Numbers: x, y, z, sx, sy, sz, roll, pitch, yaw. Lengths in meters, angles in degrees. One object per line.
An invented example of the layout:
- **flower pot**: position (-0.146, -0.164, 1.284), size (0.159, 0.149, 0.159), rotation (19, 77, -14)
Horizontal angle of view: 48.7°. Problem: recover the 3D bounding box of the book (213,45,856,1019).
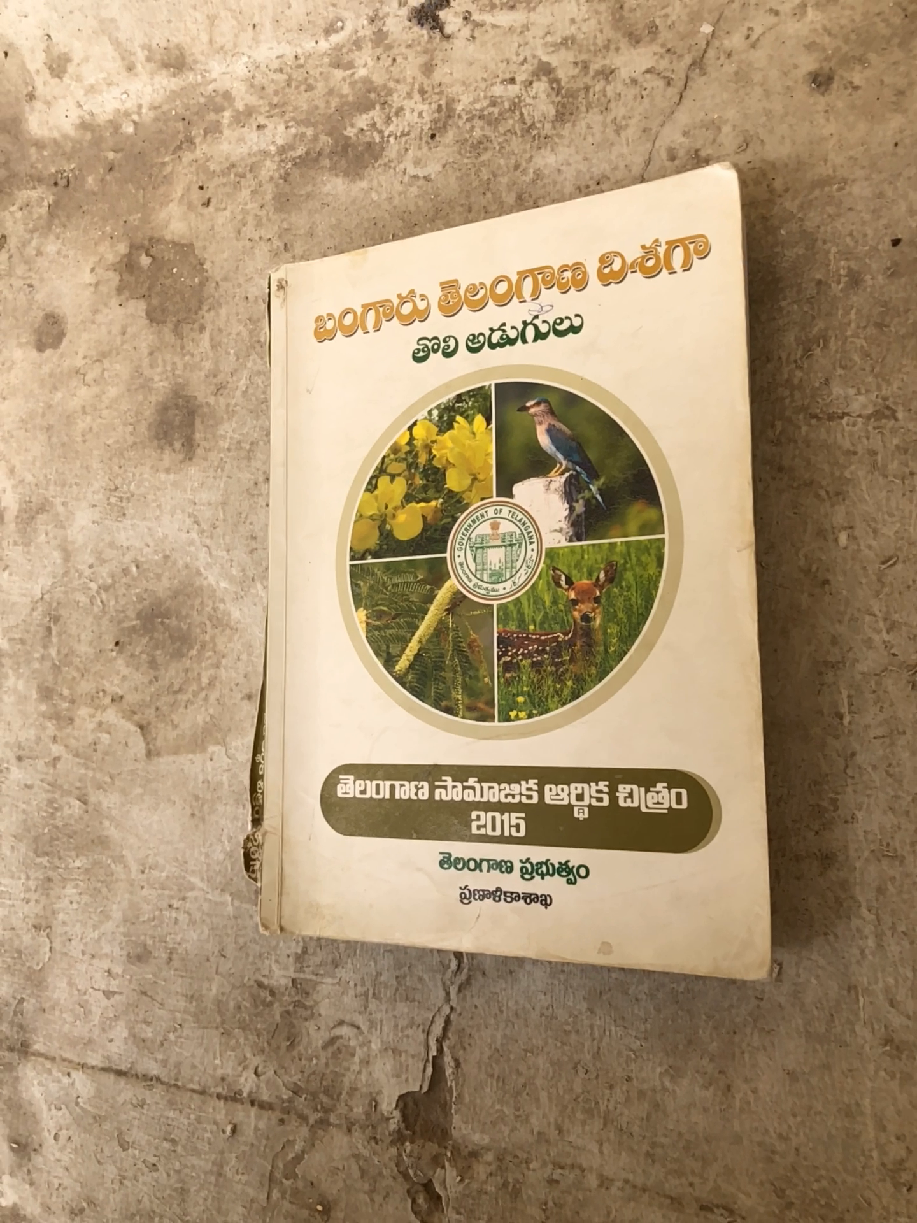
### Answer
- **book**: position (0.021, -0.023, 0.373), size (0.220, 0.060, 0.290), rotation (-2, 84, 26)
